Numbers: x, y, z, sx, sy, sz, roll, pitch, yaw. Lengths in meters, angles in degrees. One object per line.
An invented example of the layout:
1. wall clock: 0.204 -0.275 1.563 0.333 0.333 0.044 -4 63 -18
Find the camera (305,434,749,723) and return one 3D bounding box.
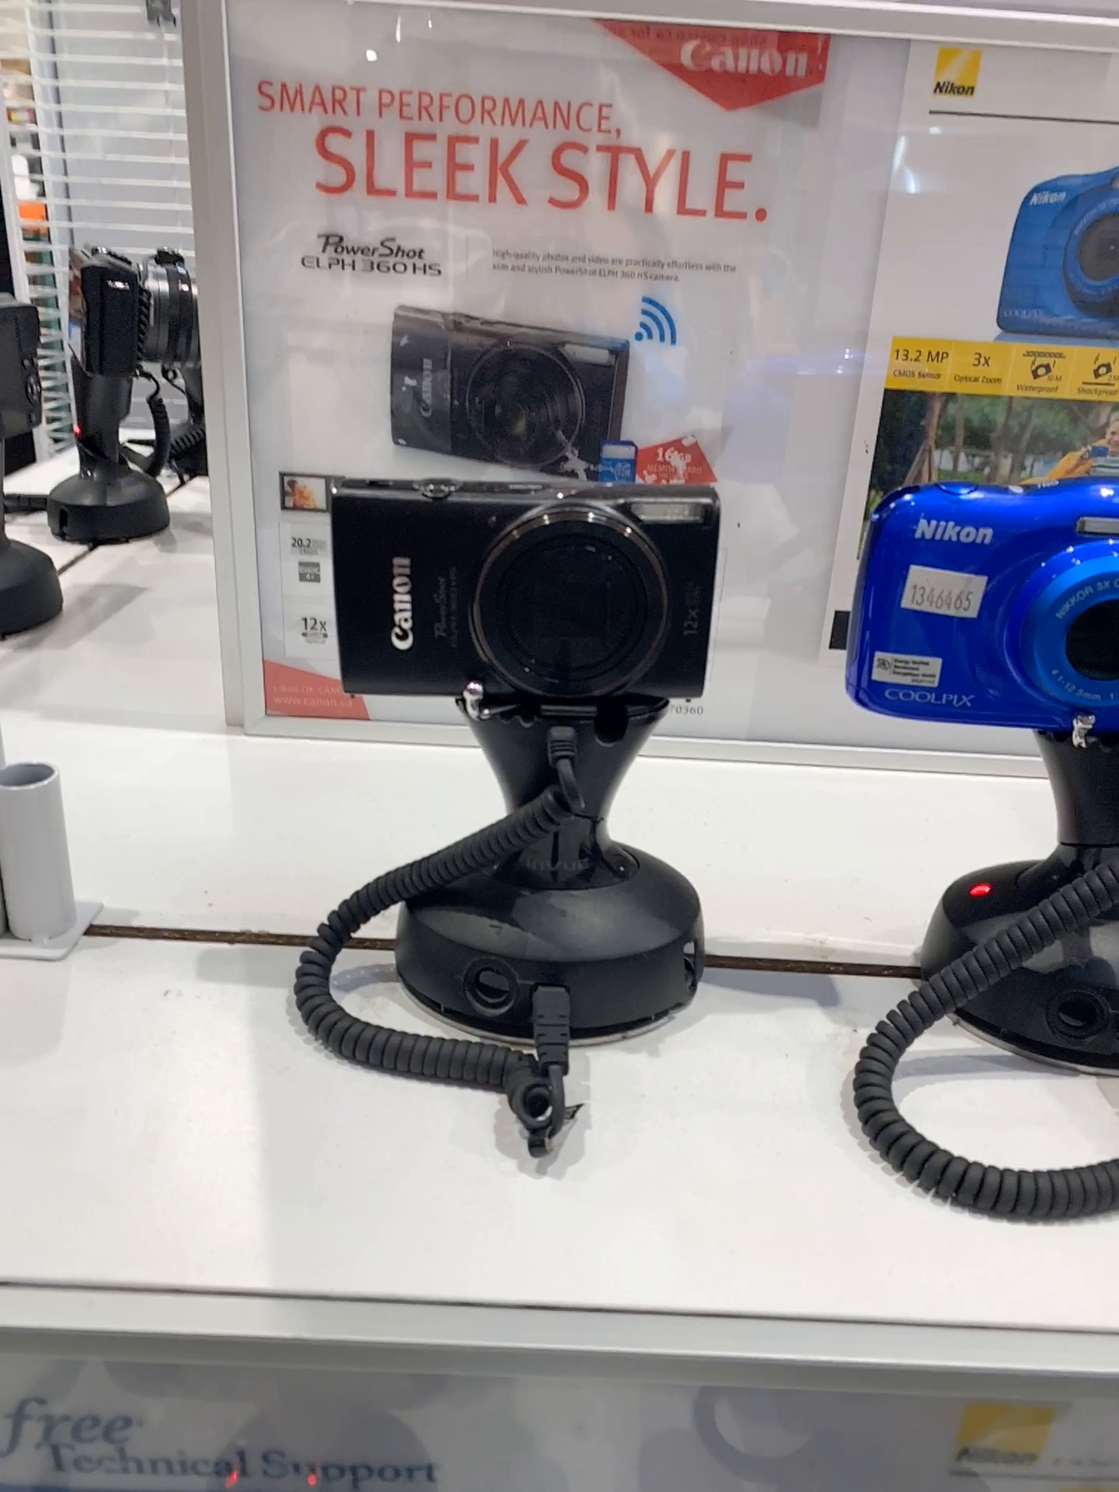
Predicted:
1. camera: -0.010 -0.042 0.289 0.100 0.060 0.040 1 24 -6
